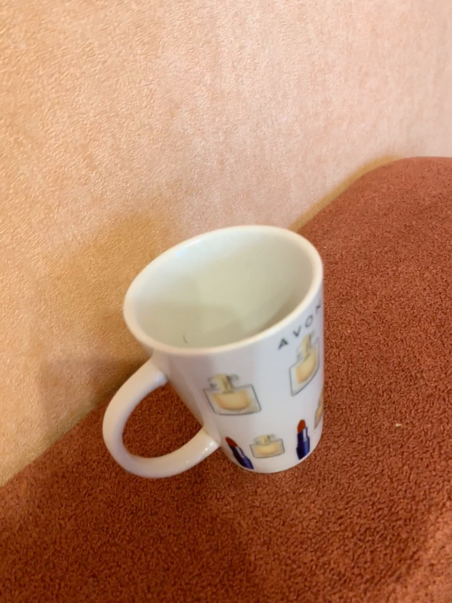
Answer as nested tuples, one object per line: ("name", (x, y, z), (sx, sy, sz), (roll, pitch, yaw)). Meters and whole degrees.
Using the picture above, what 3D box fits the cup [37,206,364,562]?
("cup", (-0.003, 0.032, 0.207), (0.103, 0.093, 0.071), (-34, 43, -20))
